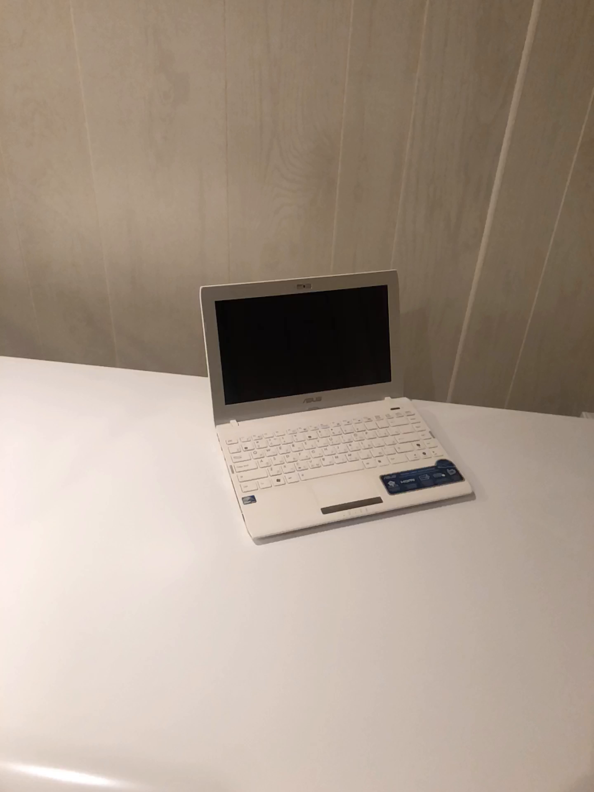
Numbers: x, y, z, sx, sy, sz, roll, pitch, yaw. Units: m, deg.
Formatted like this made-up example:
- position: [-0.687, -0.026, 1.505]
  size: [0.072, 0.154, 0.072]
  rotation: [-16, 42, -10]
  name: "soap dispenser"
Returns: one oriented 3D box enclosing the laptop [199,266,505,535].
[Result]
- position: [0.047, -0.015, 0.852]
  size: [0.288, 0.168, 0.293]
  rotation: [-8, 38, -16]
  name: "laptop"
